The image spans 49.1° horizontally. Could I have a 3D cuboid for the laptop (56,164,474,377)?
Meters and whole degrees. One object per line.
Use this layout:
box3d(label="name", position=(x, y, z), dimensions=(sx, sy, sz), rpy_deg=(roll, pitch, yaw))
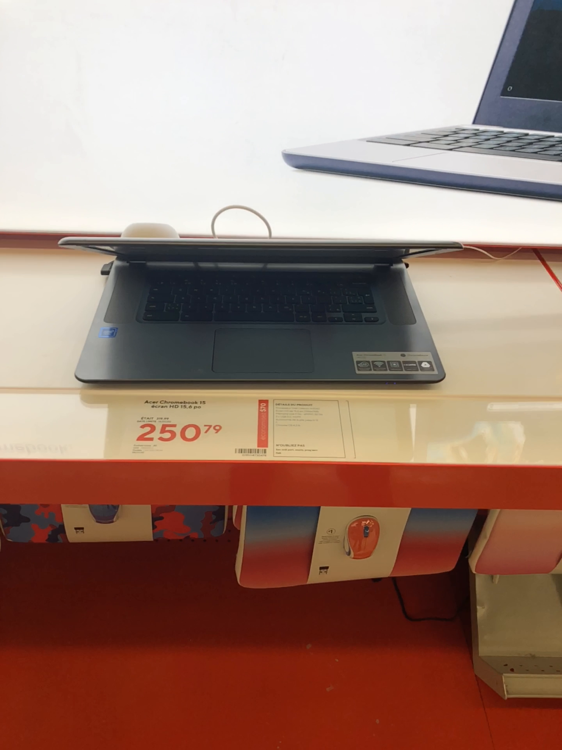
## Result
box3d(label="laptop", position=(-0.017, -0.121, 0.664), dimensions=(0.363, 0.122, 0.238), rpy_deg=(0, 38, -3))
